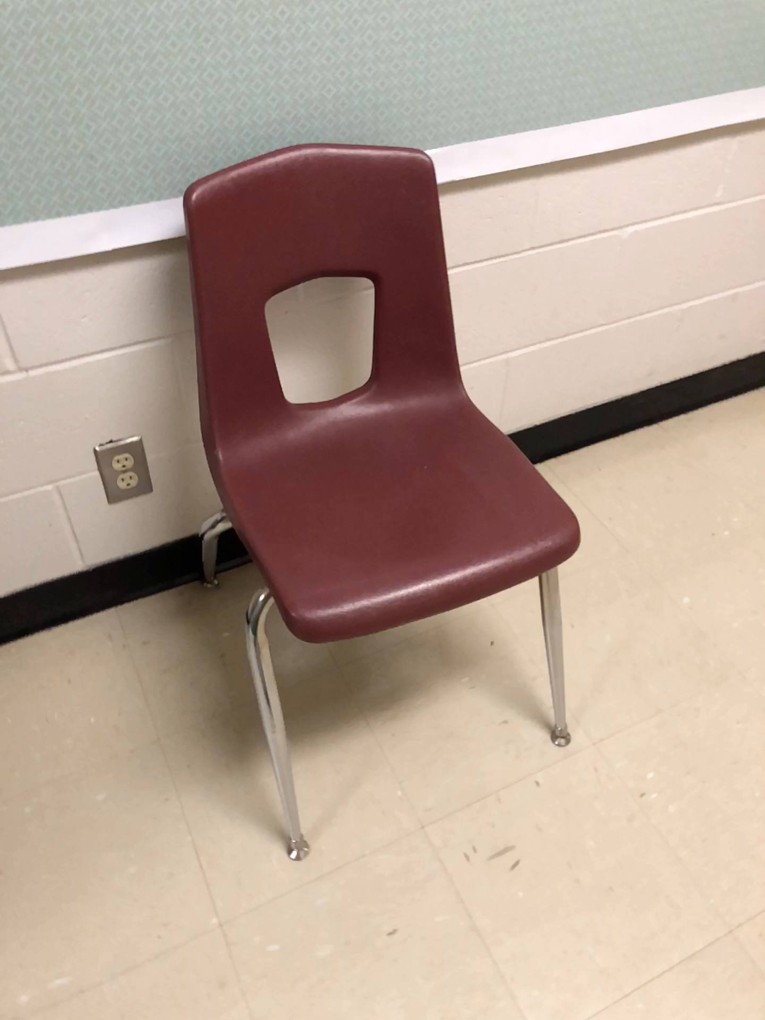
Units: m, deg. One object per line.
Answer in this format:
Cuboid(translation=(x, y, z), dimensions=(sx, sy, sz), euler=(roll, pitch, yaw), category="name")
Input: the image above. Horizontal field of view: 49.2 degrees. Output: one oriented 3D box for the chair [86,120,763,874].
Cuboid(translation=(-0.006, -0.020, 1.109), dimensions=(0.504, 0.707, 0.556), euler=(-17, 48, -18), category="chair")
